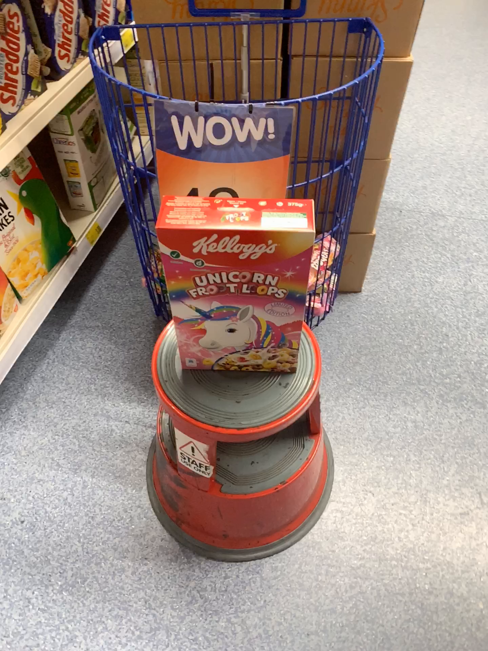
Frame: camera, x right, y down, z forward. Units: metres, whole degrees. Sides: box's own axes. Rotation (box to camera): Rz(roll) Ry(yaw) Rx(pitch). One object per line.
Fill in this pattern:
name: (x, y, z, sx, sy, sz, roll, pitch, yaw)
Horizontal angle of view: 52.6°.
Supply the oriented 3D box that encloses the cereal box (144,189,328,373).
cereal box: (-0.008, -0.047, 0.697, 0.210, 0.287, 0.071, 1, 50, 1)
